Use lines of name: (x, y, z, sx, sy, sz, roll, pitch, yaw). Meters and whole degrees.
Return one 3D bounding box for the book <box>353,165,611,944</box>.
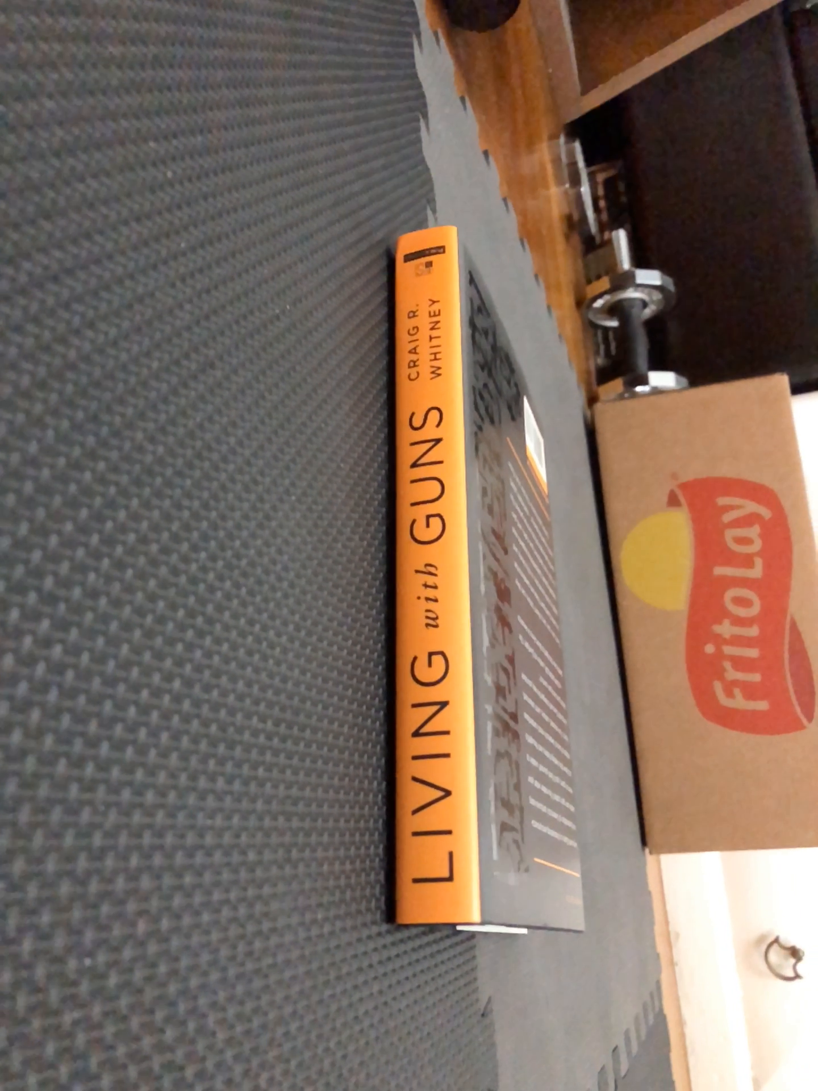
book: (0.032, 0.014, 0.358, 0.170, 0.040, 0.260, 48, 36, -58)
